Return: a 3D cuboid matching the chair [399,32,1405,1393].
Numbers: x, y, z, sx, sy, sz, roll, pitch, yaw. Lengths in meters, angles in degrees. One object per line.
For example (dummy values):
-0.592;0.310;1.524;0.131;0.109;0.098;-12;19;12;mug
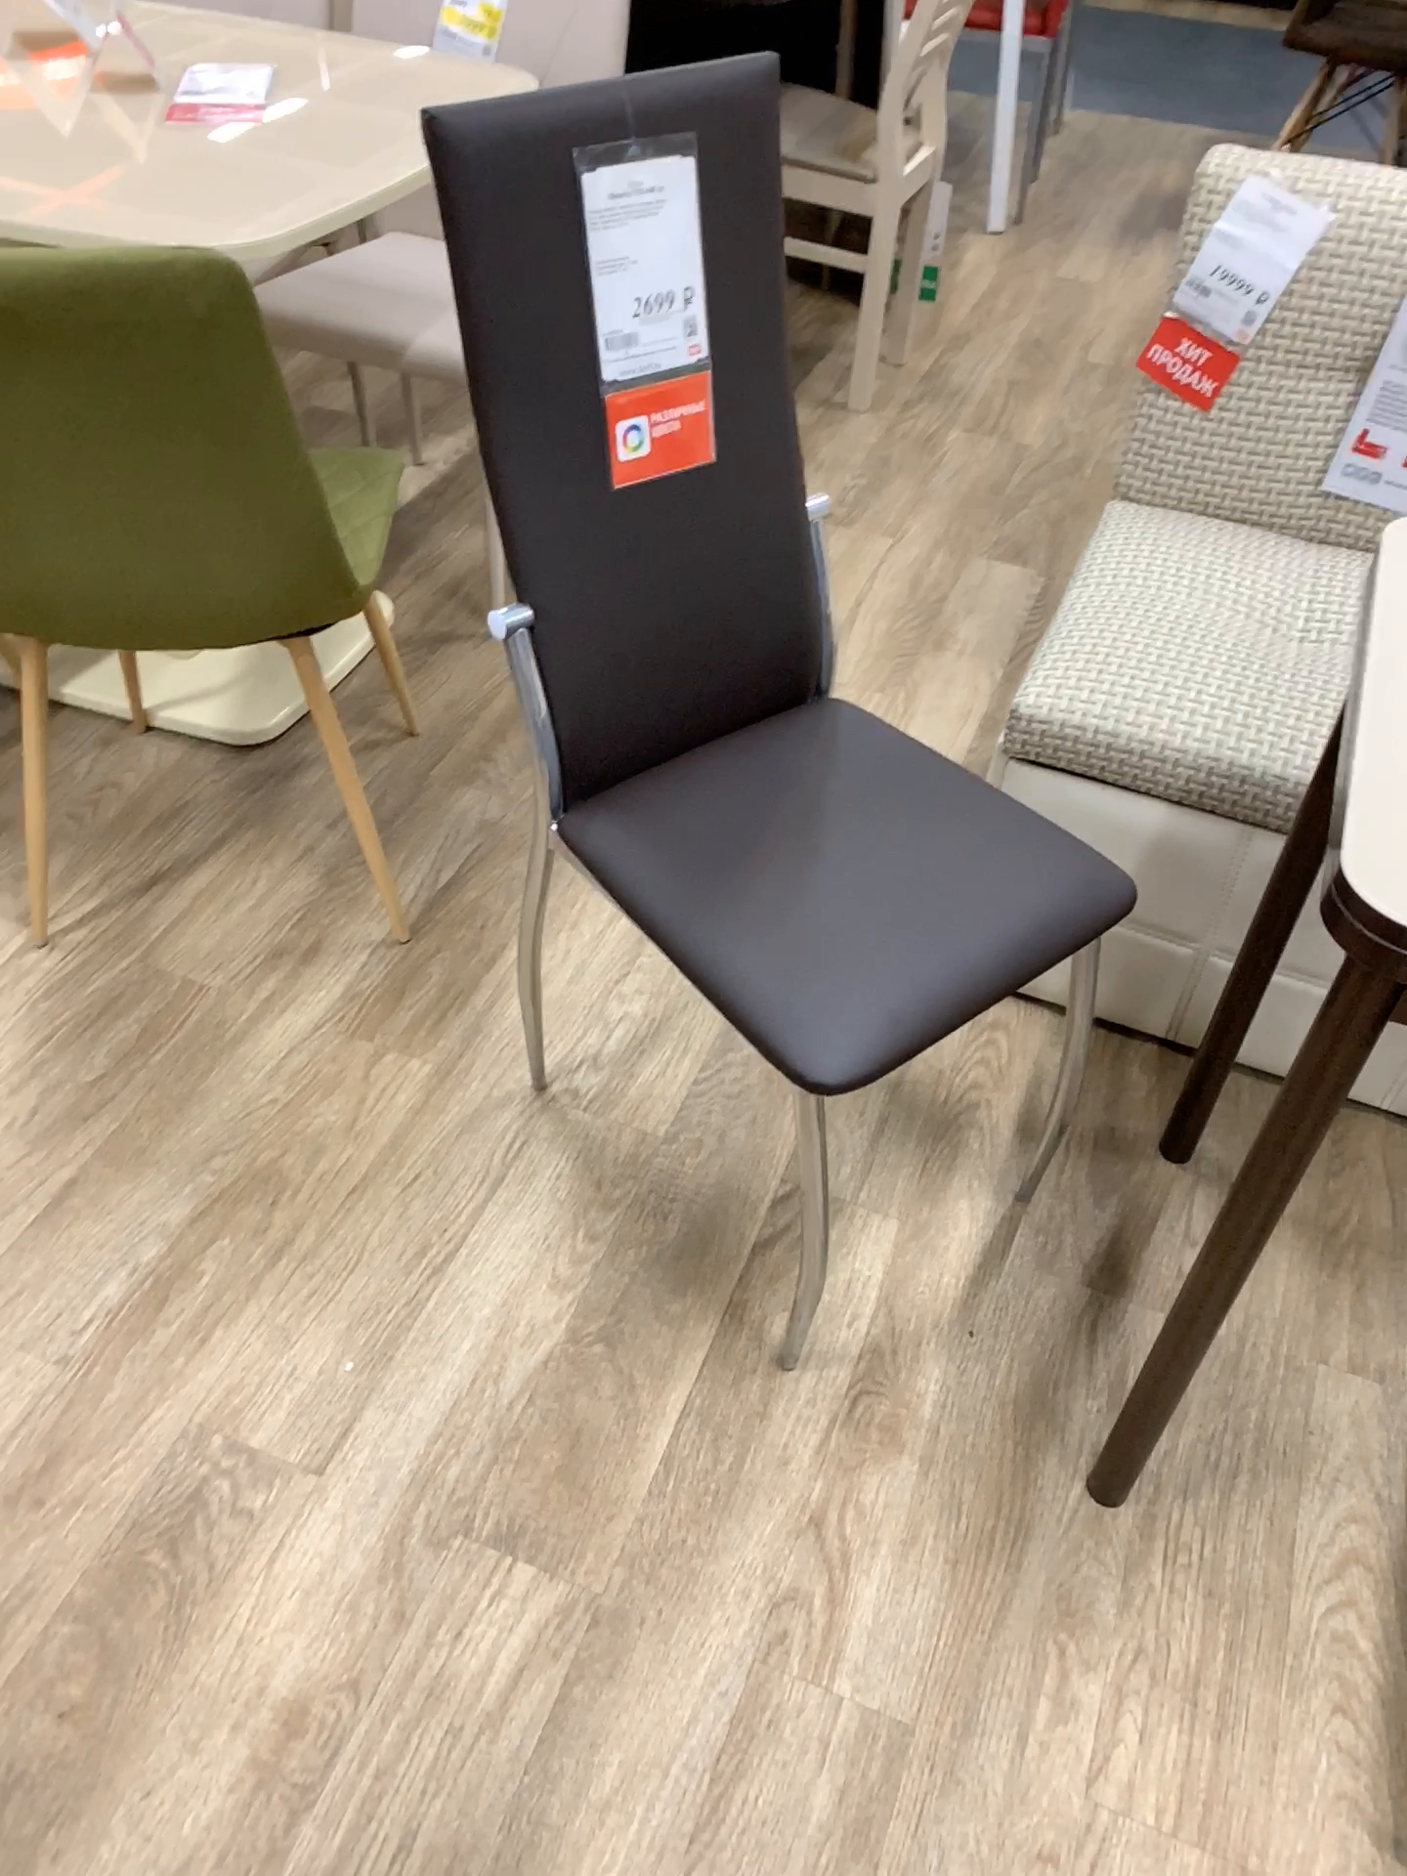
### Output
0.093;-0.148;1.270;0.421;0.994;0.501;-26;51;-27;chair
